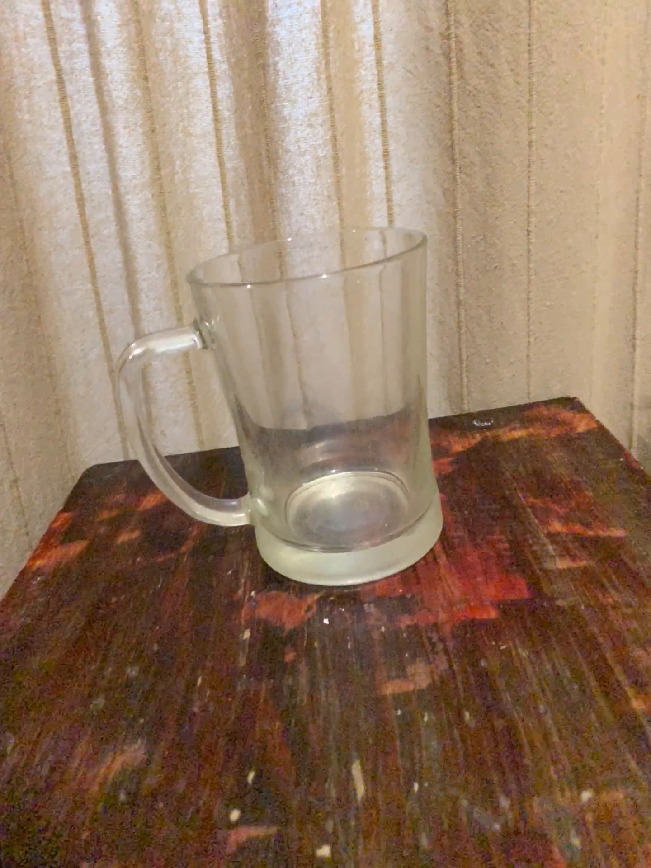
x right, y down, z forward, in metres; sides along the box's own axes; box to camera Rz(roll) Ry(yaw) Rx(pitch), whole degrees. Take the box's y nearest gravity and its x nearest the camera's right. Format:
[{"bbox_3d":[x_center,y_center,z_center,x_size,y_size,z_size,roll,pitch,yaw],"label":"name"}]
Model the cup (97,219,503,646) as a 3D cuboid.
[{"bbox_3d":[-0.011,-0.013,0.303,0.142,0.135,0.101,-14,24,-17],"label":"cup"}]
